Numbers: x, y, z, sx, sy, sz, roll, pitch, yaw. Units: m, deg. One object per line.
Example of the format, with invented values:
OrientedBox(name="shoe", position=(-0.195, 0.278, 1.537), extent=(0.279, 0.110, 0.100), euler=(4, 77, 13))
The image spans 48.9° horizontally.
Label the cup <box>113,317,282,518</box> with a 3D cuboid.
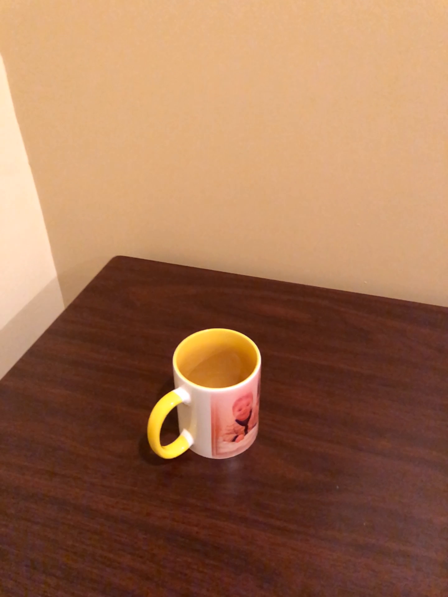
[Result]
OrientedBox(name="cup", position=(-0.019, 0.103, 0.453), extent=(0.090, 0.100, 0.120), euler=(23, 42, 29))
